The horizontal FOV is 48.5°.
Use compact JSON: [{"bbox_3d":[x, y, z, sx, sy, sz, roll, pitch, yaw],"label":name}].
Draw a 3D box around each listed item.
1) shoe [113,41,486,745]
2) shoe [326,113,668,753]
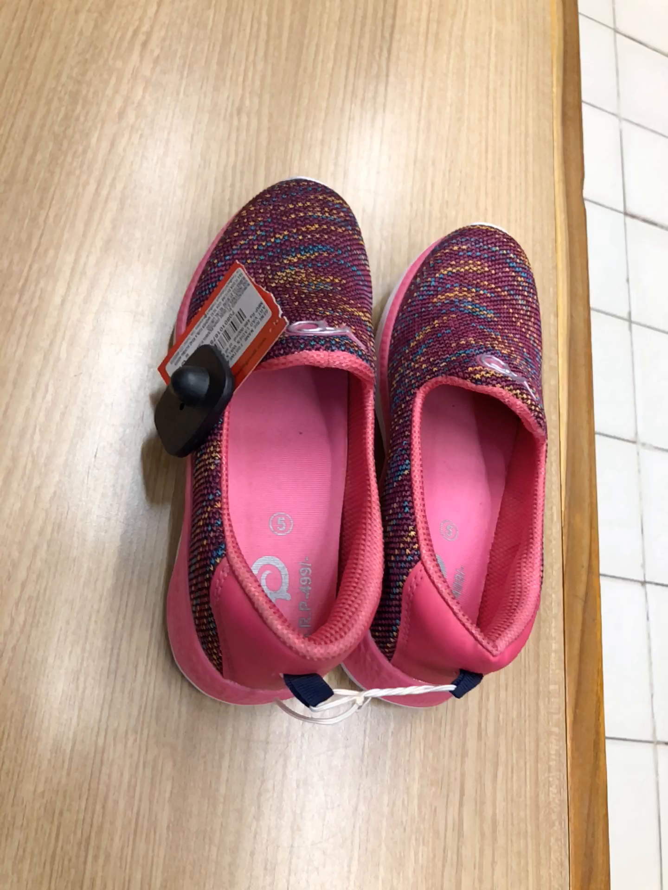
[{"bbox_3d":[-0.014,-0.014,0.301,0.105,0.103,0.244,9,69,-19],"label":"shoe"},{"bbox_3d":[0.080,-0.002,0.335,0.105,0.103,0.245,15,68,-16],"label":"shoe"}]
